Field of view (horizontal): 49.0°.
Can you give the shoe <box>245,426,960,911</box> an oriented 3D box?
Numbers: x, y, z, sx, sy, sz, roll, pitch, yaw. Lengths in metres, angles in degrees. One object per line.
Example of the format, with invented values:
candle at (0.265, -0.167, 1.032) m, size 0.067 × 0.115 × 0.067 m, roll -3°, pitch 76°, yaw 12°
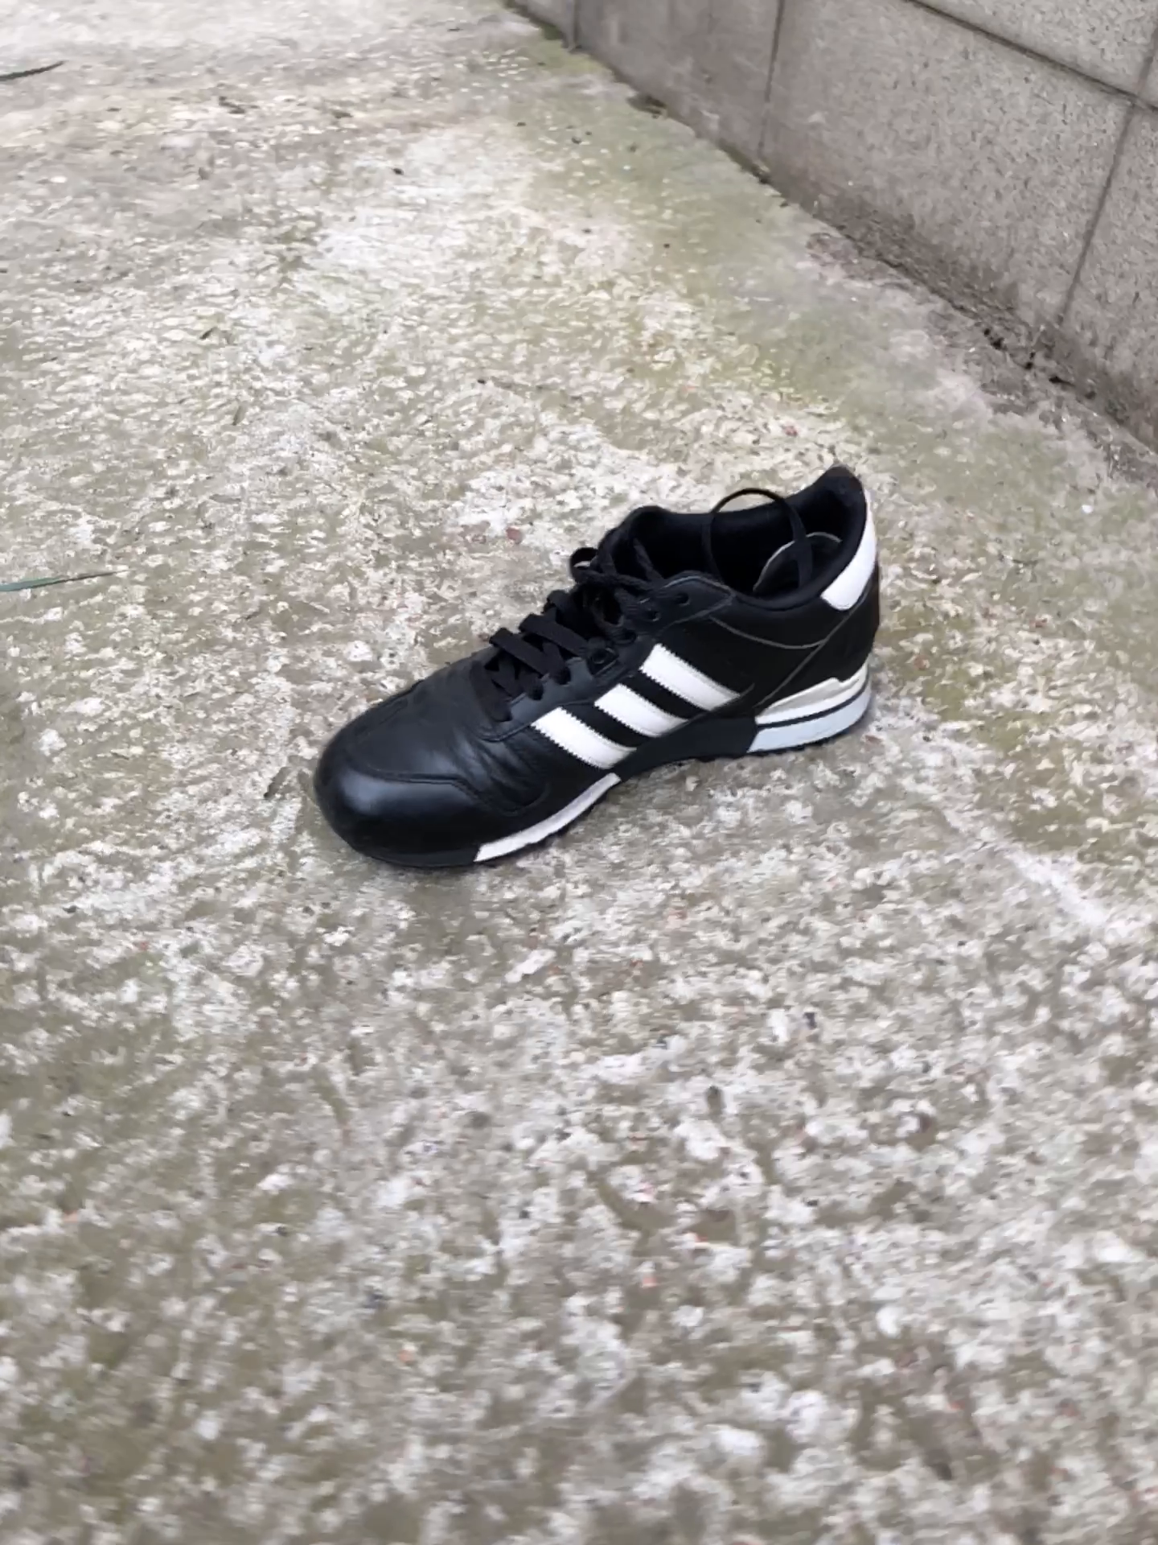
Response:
shoe at (0.011, -0.054, 0.565) m, size 0.280 × 0.119 × 0.101 m, roll -16°, pitch 47°, yaw -20°
